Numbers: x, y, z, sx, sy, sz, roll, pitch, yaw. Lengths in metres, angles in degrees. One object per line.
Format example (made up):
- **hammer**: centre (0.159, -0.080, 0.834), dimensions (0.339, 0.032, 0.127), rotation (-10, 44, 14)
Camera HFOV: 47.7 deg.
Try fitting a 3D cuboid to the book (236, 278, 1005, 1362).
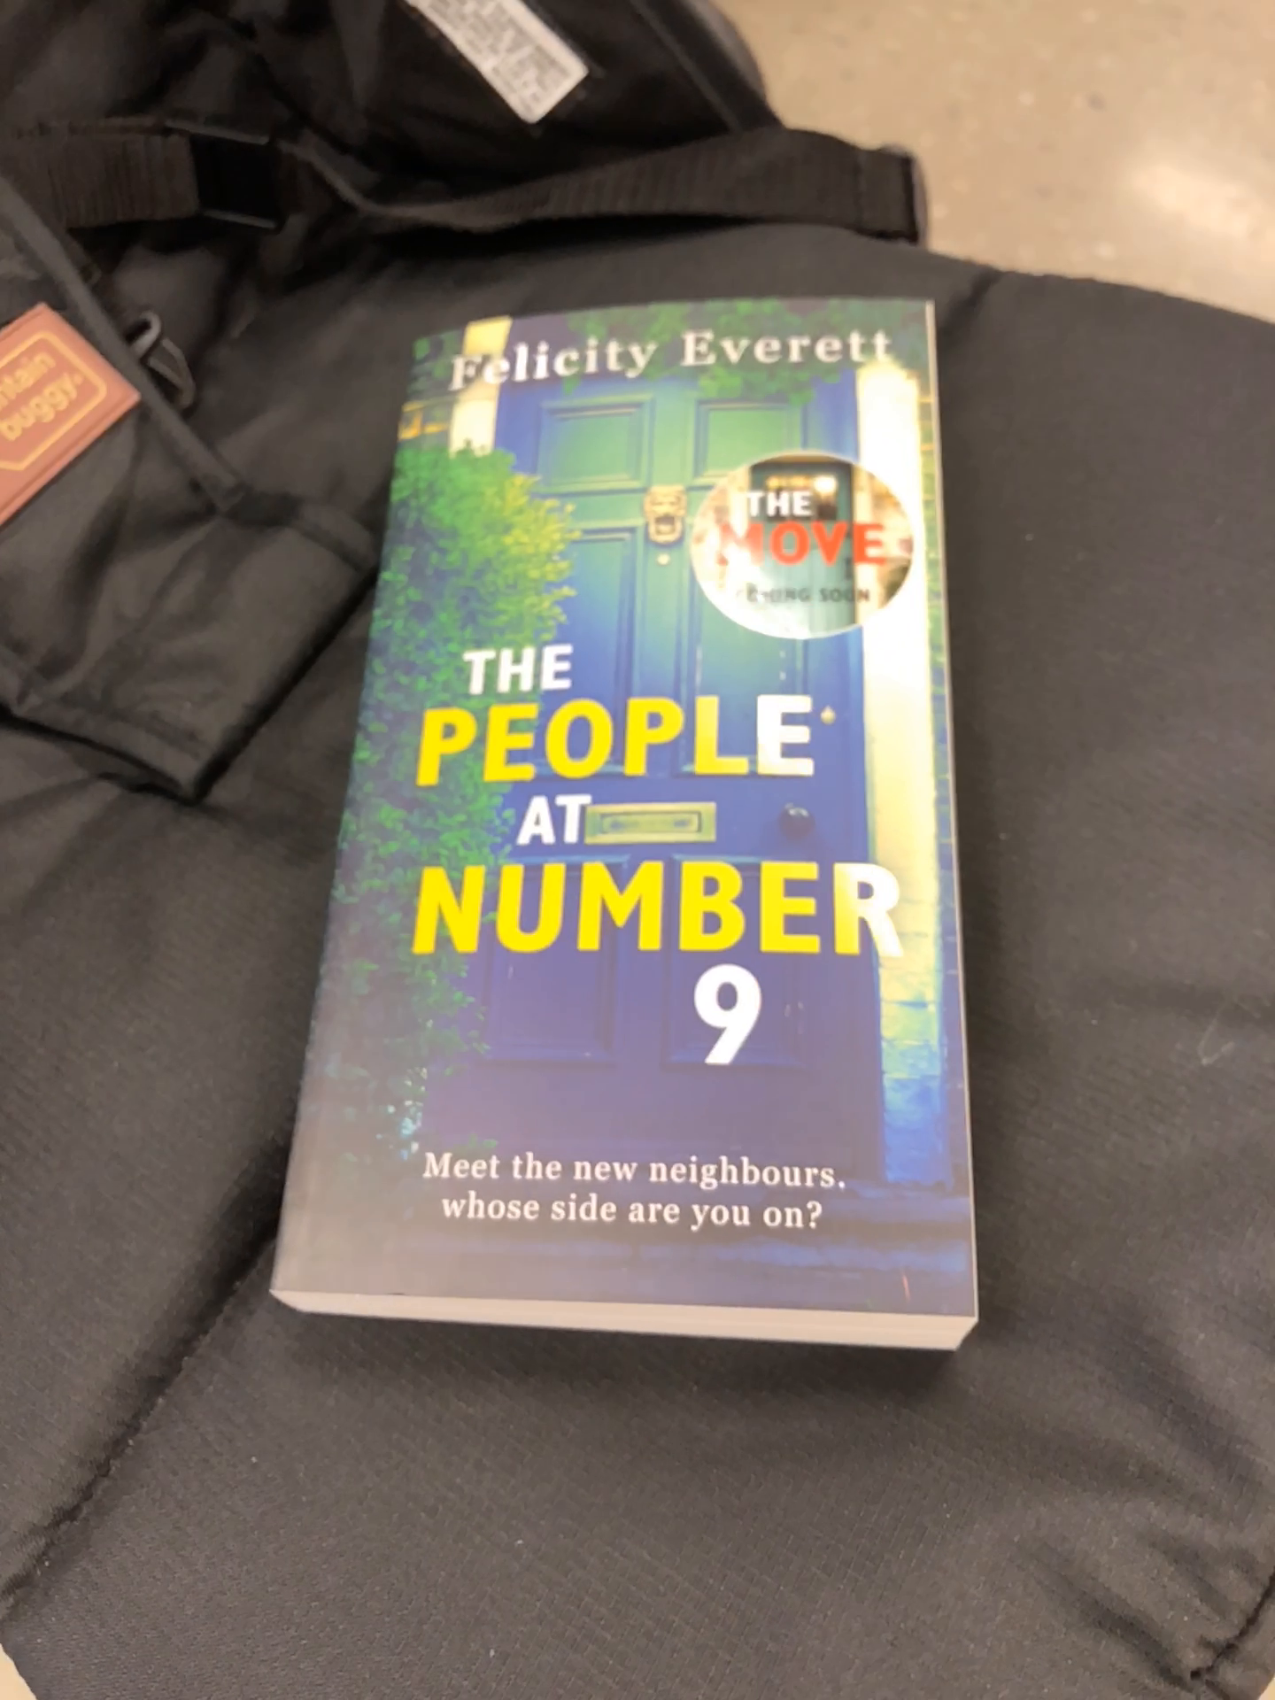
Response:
- **book**: centre (0.001, -0.015, 0.257), dimensions (0.110, 0.030, 0.195), rotation (1, 67, 4)
